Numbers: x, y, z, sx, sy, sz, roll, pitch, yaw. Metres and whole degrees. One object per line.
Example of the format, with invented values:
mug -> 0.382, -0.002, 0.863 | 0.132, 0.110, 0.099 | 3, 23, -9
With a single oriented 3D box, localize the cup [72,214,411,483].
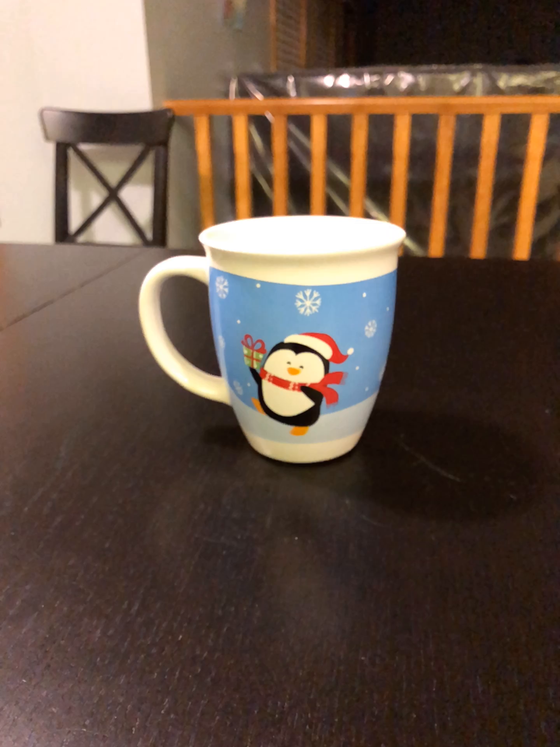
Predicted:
cup -> -0.010, -0.022, 0.322 | 0.140, 0.100, 0.100 | 5, 22, 12
